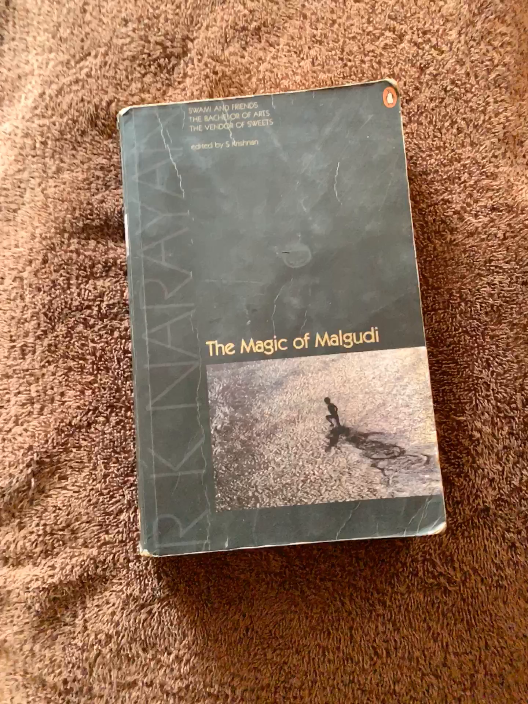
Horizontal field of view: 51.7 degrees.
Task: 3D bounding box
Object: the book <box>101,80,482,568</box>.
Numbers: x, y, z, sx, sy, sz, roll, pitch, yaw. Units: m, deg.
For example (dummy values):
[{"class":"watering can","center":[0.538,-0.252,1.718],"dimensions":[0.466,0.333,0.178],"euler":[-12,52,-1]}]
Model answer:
[{"class":"book","center":[0.008,-0.015,0.241],"dimensions":[0.142,0.030,0.193],"euler":[-5,84,0]}]
